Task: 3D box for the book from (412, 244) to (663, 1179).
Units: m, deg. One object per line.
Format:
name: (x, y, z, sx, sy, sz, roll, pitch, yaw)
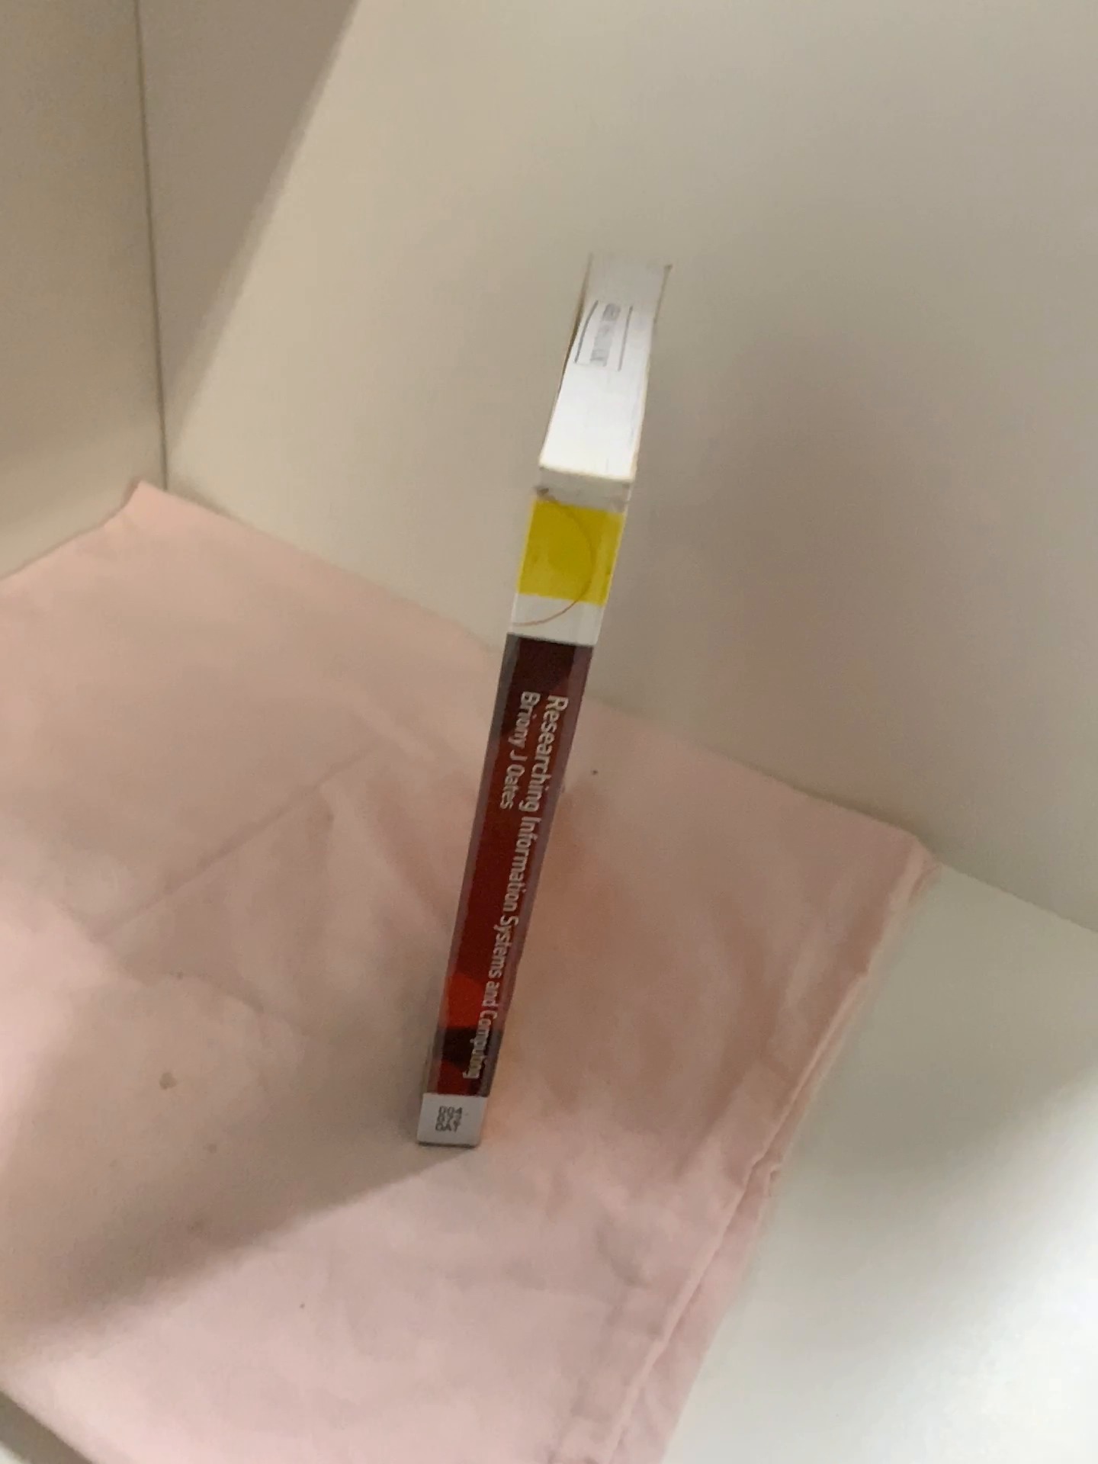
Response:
book: (-0.002, -0.013, 0.379, 0.026, 0.238, 0.203, 11, 35, -1)
